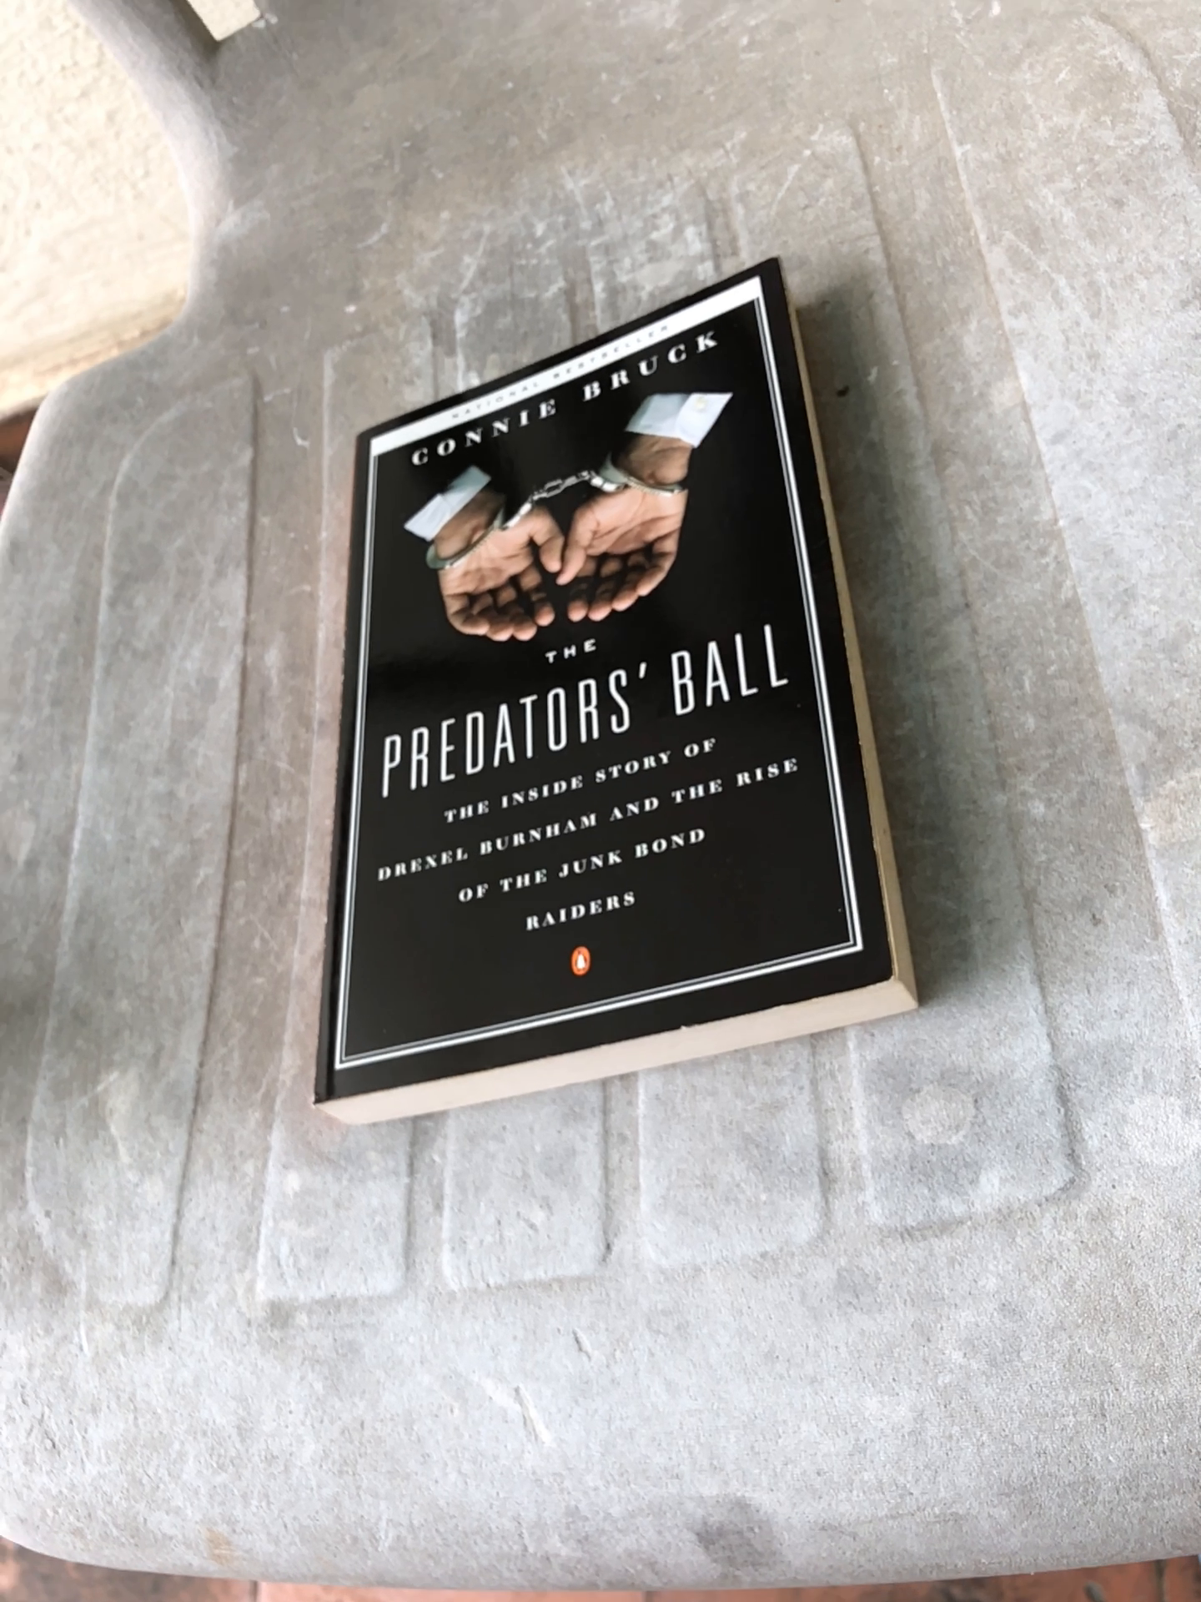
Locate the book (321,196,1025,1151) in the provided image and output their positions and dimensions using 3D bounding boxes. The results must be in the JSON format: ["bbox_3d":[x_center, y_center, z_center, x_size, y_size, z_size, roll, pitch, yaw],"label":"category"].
[{"bbox_3d":[0.006,-0.036,0.321,0.140,0.030,0.210,-16,57,22],"label":"book"}]
